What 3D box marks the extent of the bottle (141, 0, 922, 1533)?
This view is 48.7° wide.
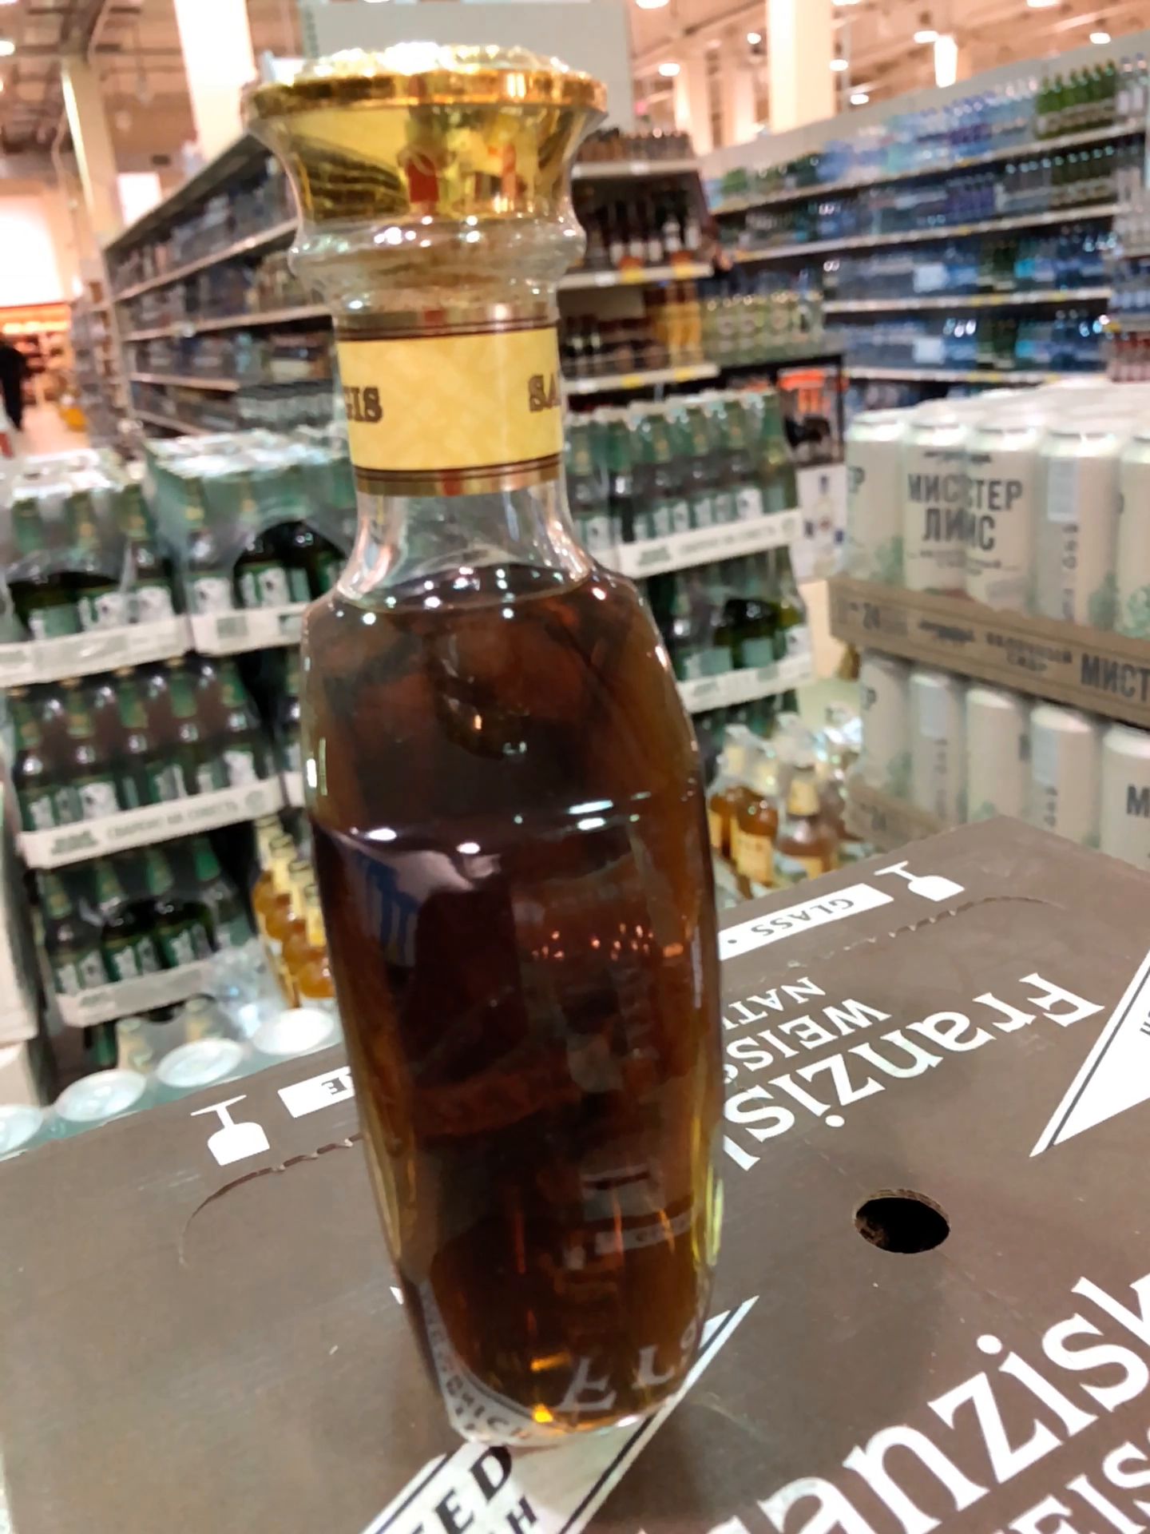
[{"bbox_3d":[-0.005,0.006,0.212,0.070,0.209,0.141,-8,20,-8],"label":"bottle"}]
